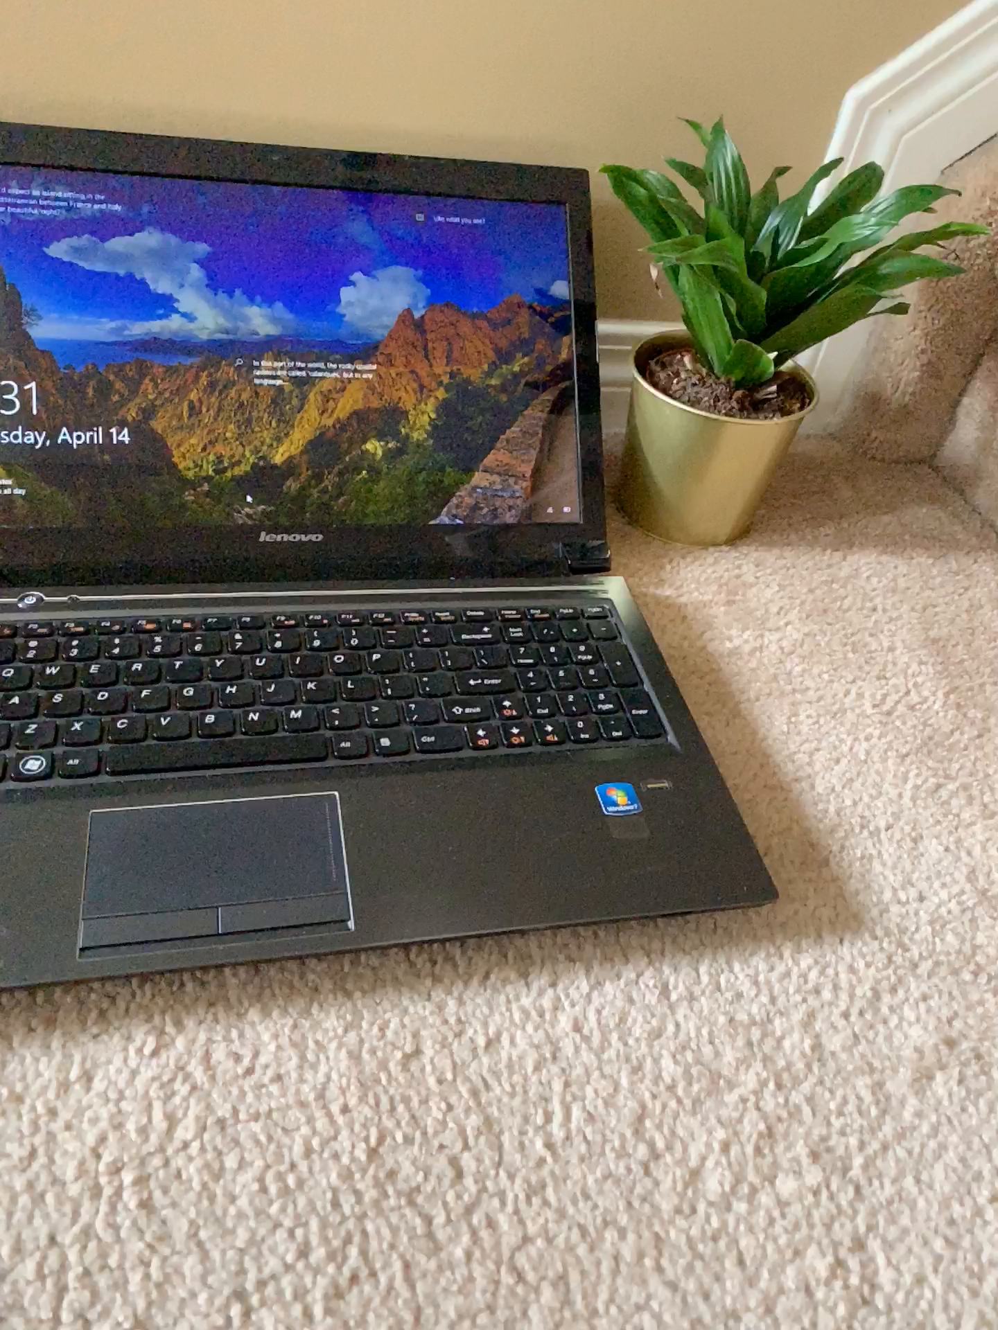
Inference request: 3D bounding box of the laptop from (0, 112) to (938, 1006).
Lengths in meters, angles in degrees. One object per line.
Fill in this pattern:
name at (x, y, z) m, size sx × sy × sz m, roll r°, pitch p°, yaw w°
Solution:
laptop at (-0.096, -0.091, 0.482) m, size 0.372 × 0.167 × 0.412 m, roll -2°, pitch 43°, yaw -15°
